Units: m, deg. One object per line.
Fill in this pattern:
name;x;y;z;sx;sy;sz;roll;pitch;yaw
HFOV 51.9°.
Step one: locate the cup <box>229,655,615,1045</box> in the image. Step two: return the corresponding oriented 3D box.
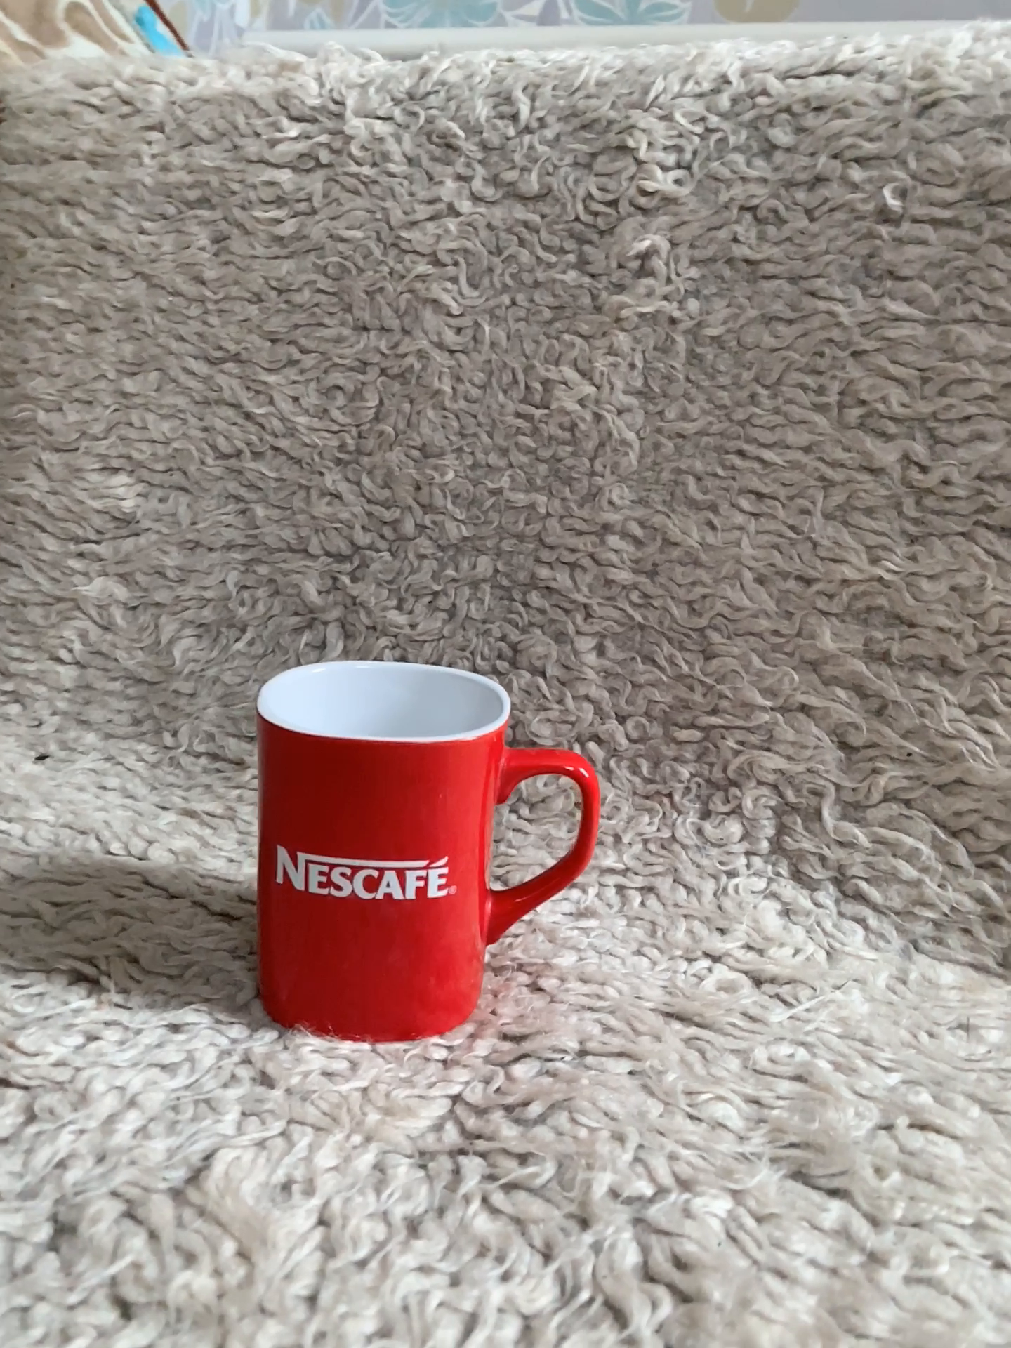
cup;-0.033;0.061;0.384;0.121;0.110;0.088;3;16;-6
